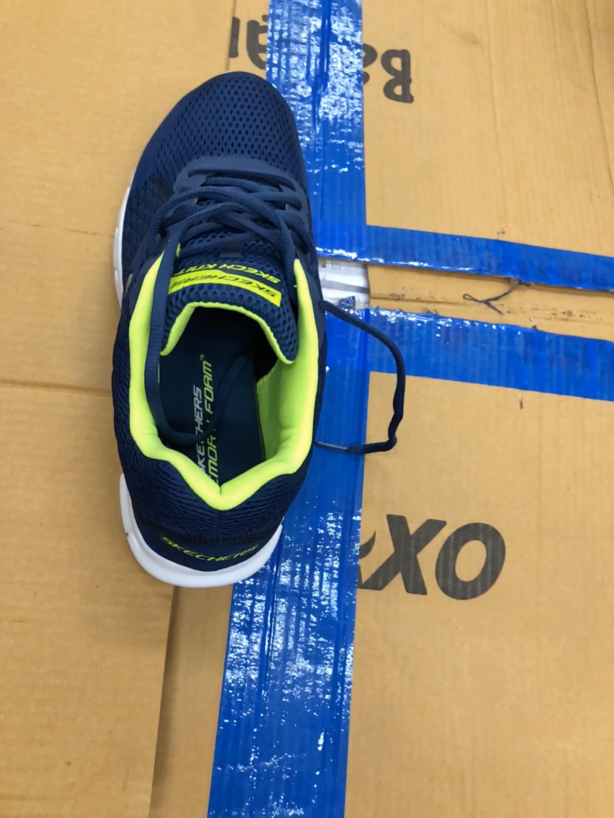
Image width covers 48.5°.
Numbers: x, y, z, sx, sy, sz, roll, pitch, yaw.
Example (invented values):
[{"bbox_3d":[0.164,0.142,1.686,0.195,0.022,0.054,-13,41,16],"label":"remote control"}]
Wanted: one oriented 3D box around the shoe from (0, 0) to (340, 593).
[{"bbox_3d":[-0.054,-0.077,0.315,0.106,0.146,0.307,4,72,-10],"label":"shoe"}]
